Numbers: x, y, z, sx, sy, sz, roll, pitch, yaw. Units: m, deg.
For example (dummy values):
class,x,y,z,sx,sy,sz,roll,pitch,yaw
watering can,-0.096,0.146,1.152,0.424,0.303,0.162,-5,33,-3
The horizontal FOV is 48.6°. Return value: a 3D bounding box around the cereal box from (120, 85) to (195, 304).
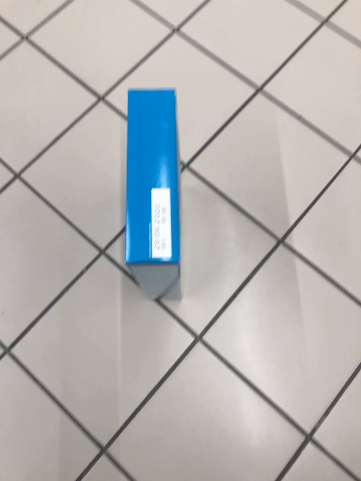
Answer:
class,x,y,z,sx,sy,sz,roll,pitch,yaw
cereal box,-0.022,-0.036,0.521,0.070,0.249,0.200,-2,73,0
